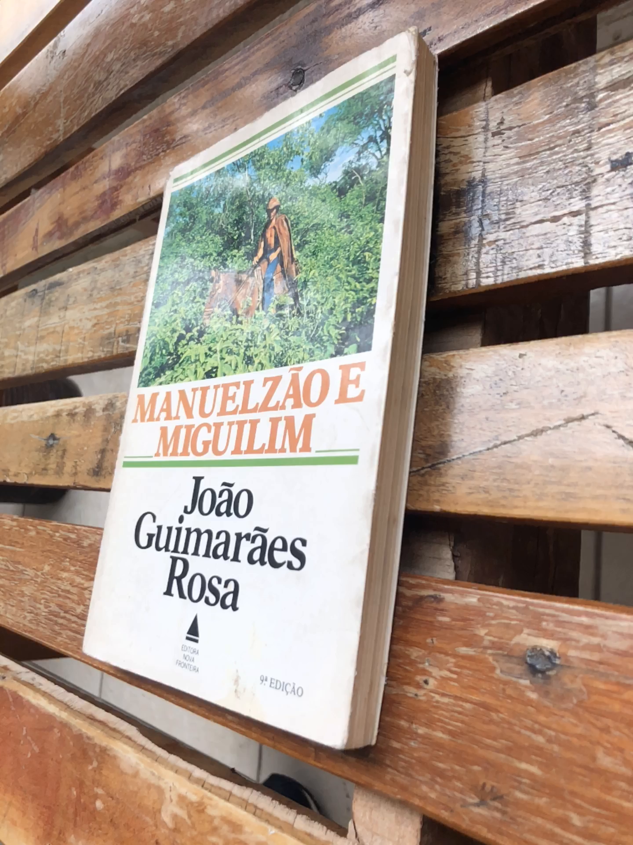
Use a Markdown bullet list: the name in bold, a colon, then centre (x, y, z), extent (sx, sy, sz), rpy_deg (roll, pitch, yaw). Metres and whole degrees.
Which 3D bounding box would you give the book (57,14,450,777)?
- **book**: centre (-0.028, -0.011, 0.236), extent (0.142, 0.020, 0.200), rpy_deg (-5, 74, 45)
